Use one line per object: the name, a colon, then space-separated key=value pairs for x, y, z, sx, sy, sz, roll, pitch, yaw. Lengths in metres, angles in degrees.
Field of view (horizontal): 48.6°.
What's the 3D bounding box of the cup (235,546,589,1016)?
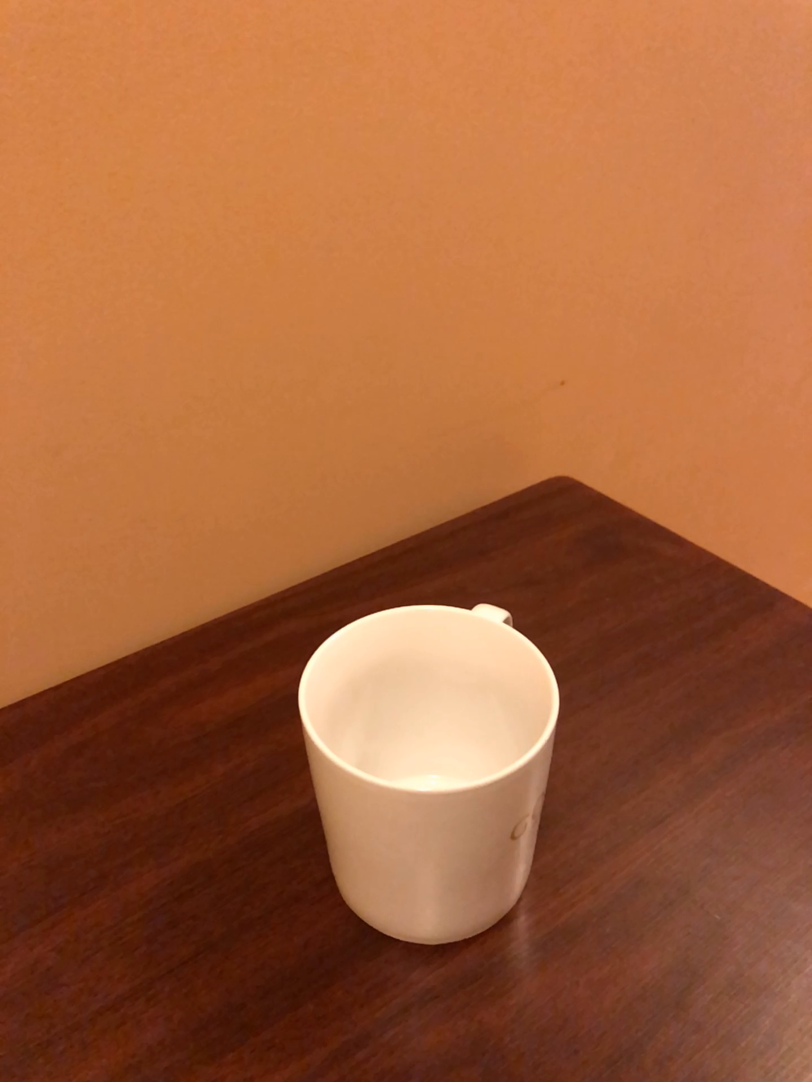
cup: x=0.014 y=0.090 z=0.382 sx=0.110 sy=0.100 sz=0.151 roll=6 pitch=34 yaw=12
